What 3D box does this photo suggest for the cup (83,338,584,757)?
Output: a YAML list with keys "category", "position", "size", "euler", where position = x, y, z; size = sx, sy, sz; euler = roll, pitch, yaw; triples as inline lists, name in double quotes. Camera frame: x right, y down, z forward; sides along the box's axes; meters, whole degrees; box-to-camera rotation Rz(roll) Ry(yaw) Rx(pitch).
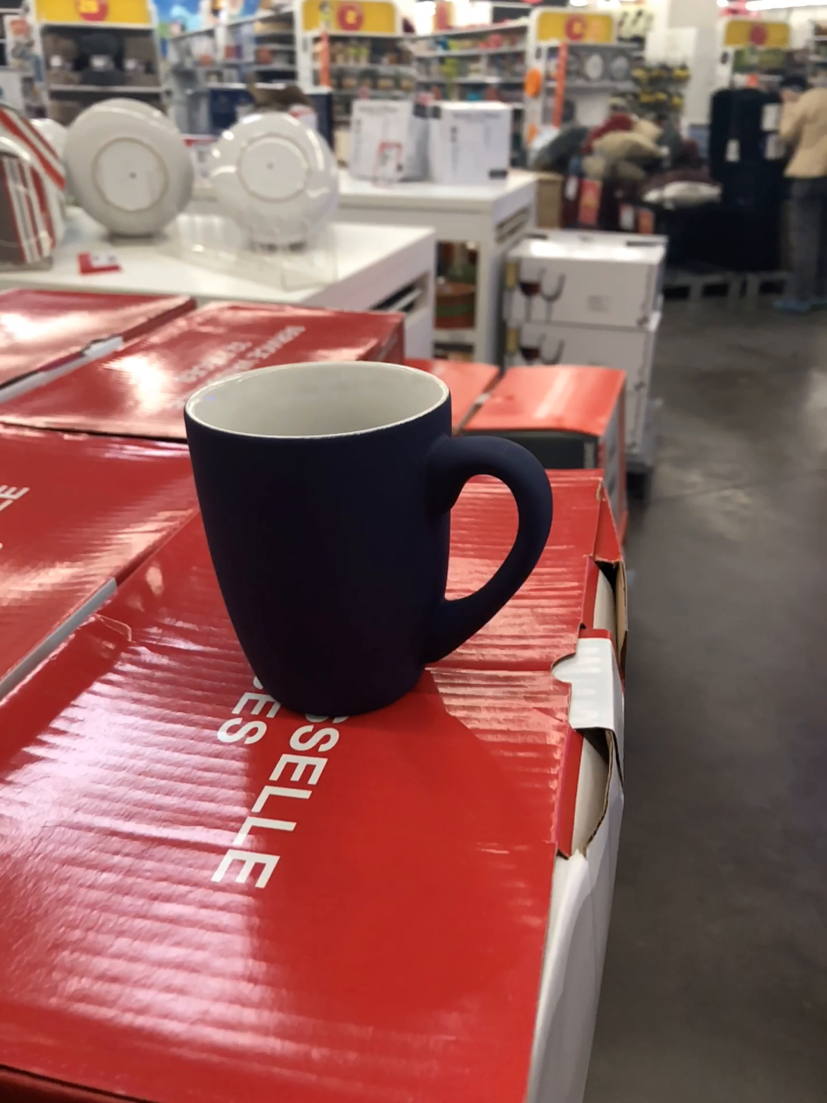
- category: "cup"
  position: [-0.016, -0.010, 0.291]
  size: [0.121, 0.087, 0.091]
  euler: [7, 30, 20]
